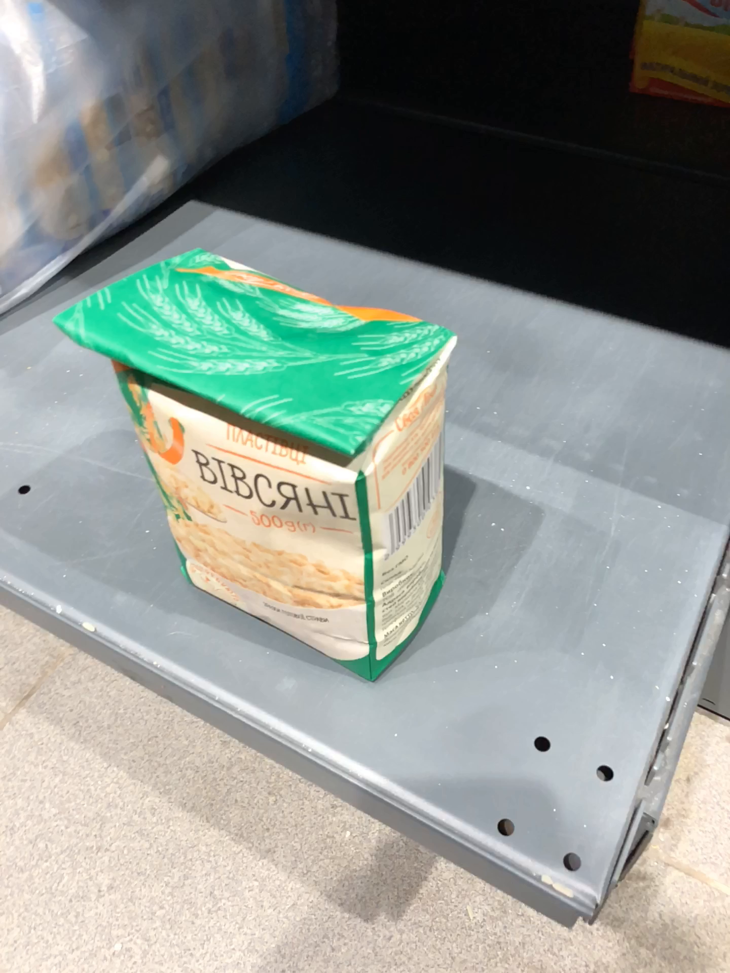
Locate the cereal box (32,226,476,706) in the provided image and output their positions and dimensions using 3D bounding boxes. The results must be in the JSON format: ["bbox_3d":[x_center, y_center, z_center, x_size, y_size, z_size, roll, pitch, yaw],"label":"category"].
[{"bbox_3d":[-0.032,-0.004,0.304,0.120,0.139,0.070,21,53,20],"label":"cereal box"}]
